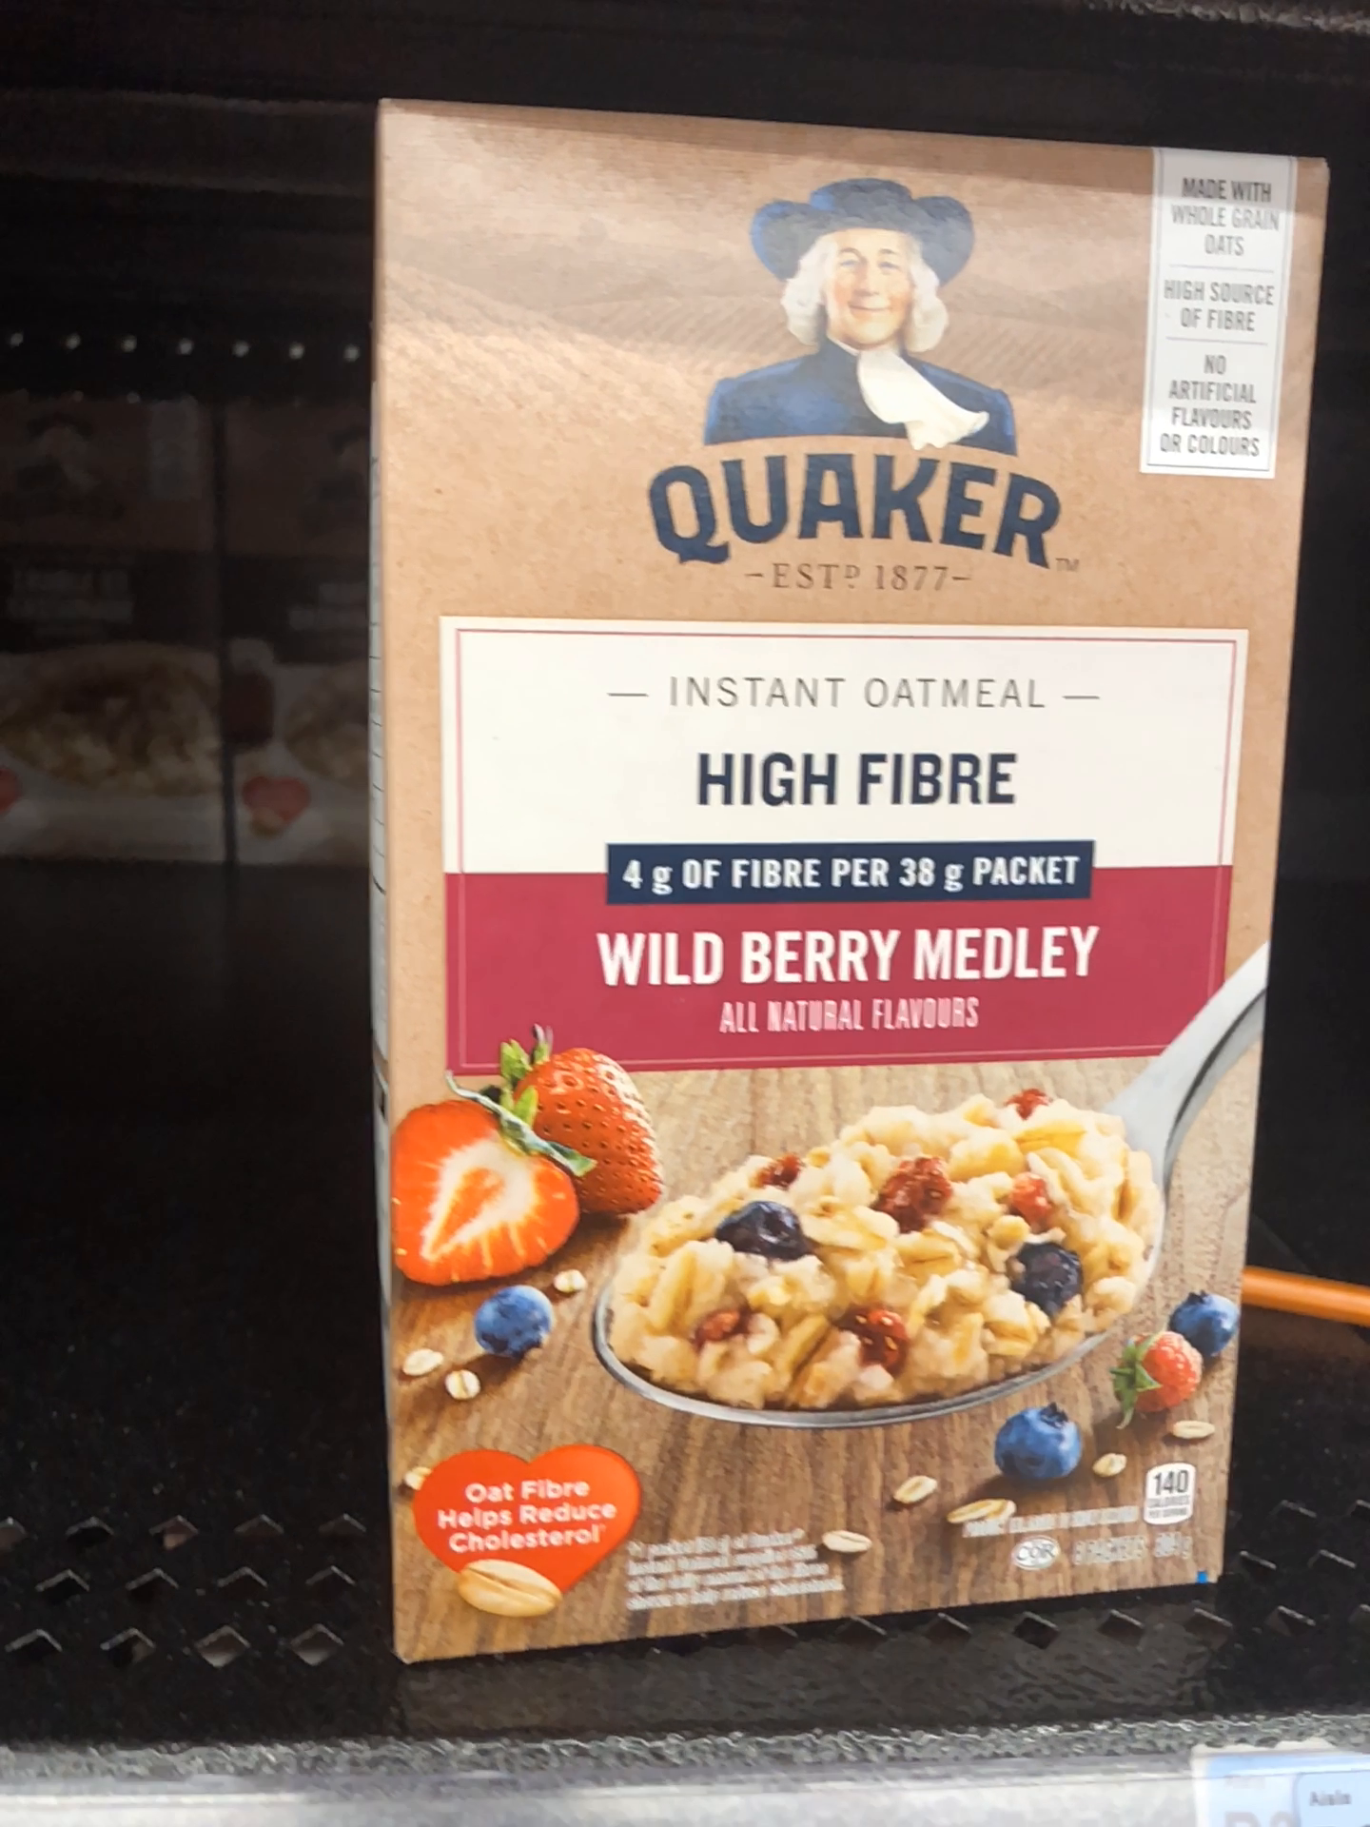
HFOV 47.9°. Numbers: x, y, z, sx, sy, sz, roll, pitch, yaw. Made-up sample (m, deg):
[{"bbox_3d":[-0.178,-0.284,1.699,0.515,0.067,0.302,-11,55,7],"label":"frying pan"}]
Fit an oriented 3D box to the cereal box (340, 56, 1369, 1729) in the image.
[{"bbox_3d":[0.018,0.000,0.228,0.130,0.200,0.070,0,9,-10],"label":"cereal box"}]
